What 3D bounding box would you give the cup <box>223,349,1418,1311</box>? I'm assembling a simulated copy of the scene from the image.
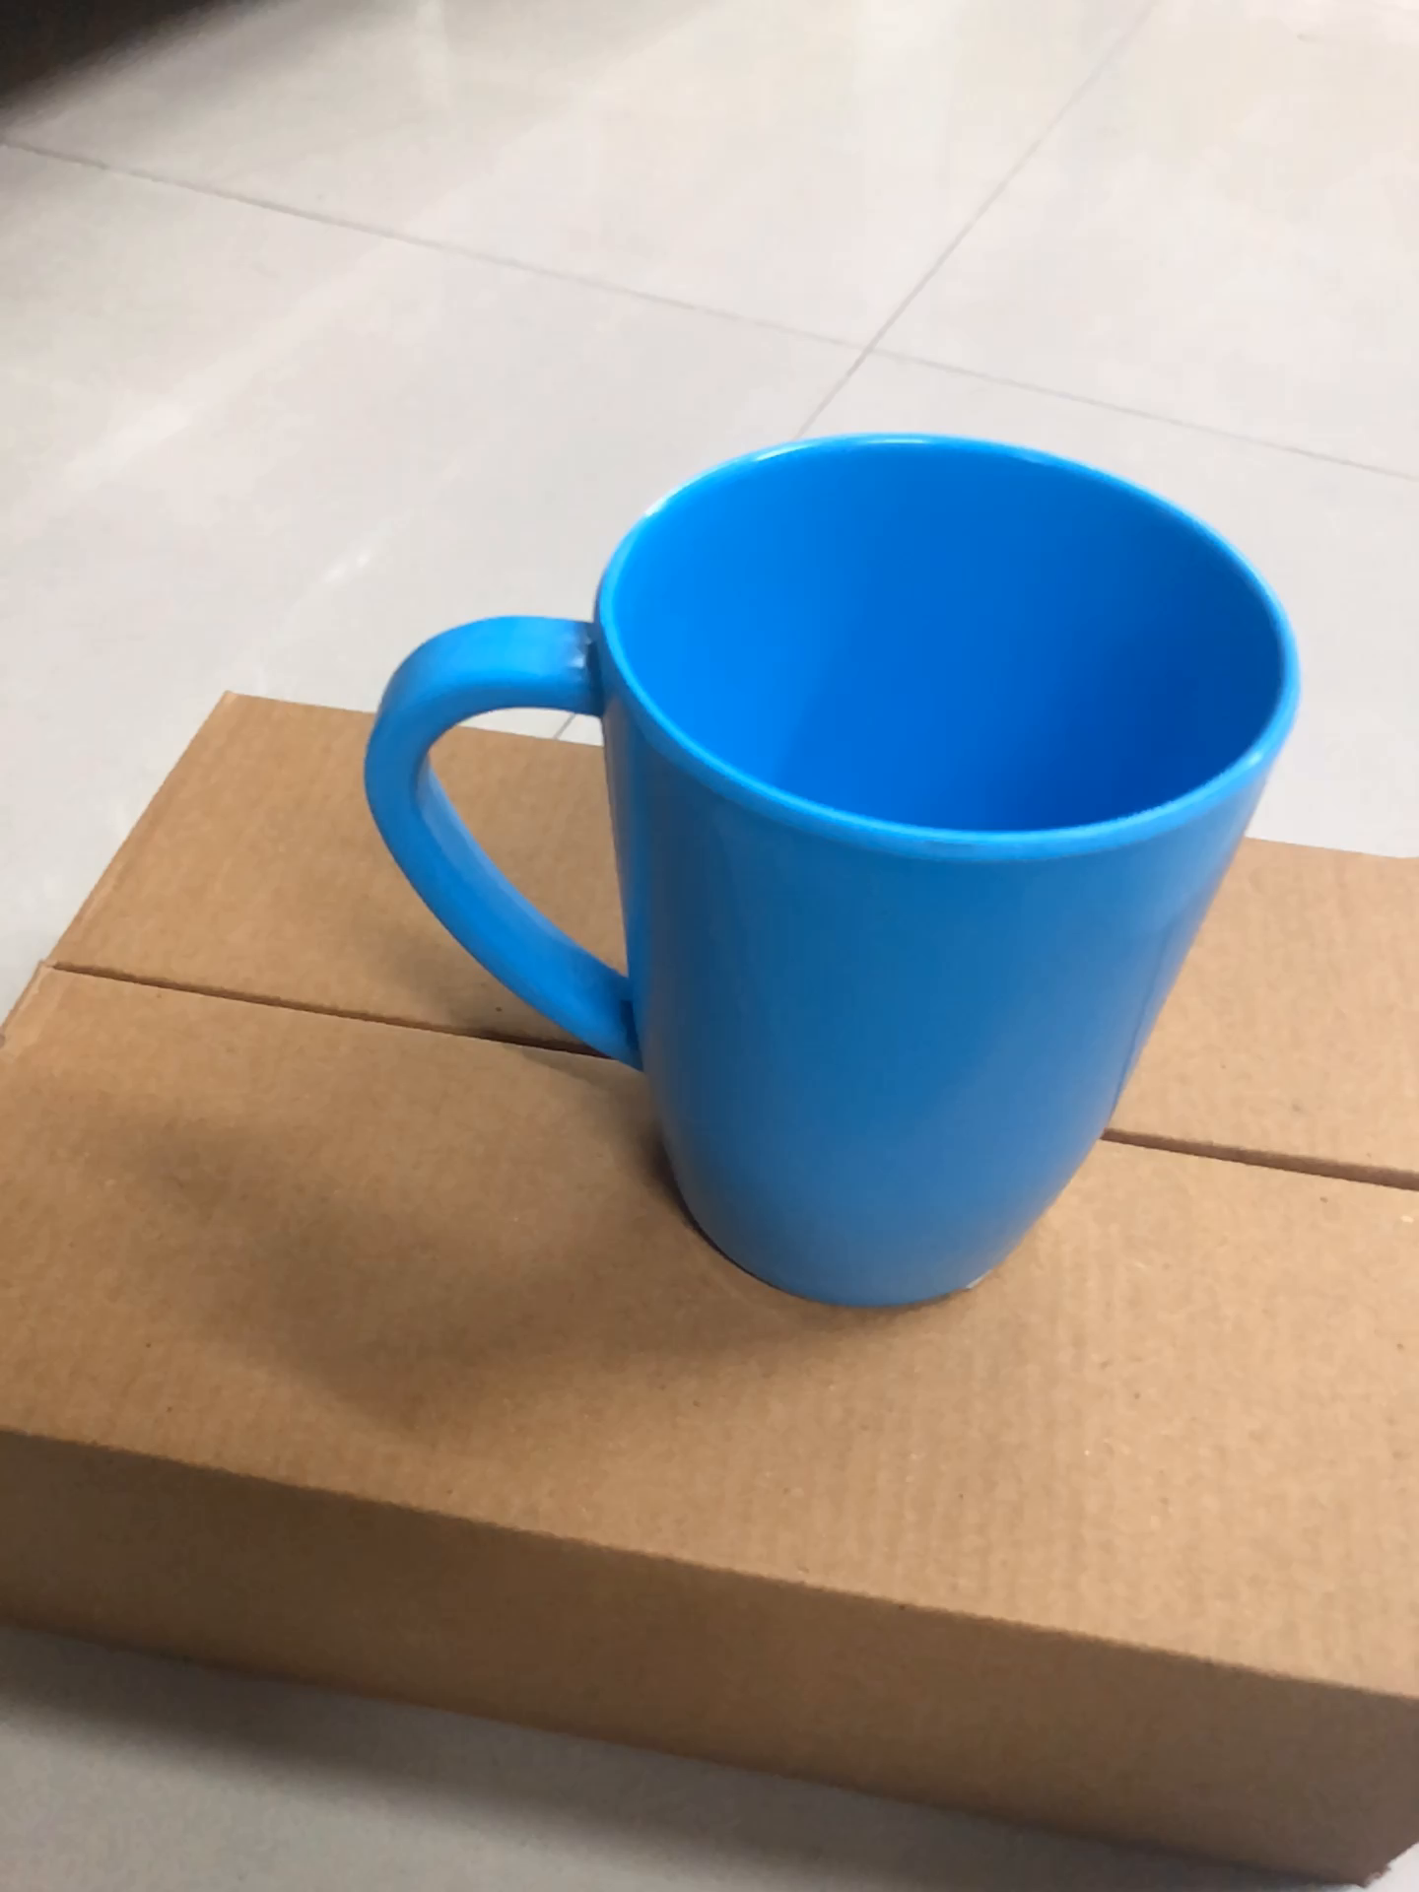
[{"bbox_3d":[0.014,-0.014,0.206,0.120,0.089,0.080,2,46,-1],"label":"cup"}]
